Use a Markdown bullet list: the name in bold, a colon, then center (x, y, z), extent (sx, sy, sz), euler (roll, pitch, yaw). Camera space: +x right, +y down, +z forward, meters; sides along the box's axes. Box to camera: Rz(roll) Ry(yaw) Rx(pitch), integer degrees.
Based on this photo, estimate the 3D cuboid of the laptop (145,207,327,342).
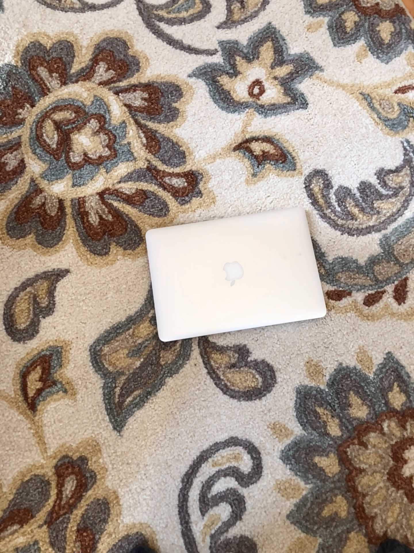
- **laptop**: center (0.048, -0.008, 0.818), extent (0.295, 0.001, 0.207), euler (-9, 77, -2)
